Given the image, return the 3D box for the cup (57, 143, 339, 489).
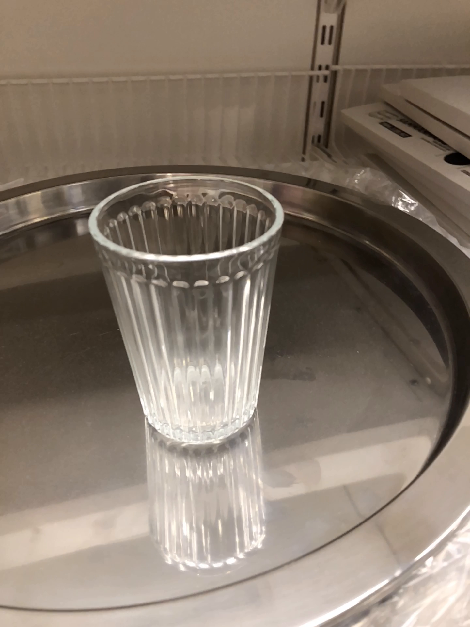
[{"bbox_3d":[-0.013,-0.003,0.210,0.070,0.100,0.070,-1,35,1],"label":"cup"}]
